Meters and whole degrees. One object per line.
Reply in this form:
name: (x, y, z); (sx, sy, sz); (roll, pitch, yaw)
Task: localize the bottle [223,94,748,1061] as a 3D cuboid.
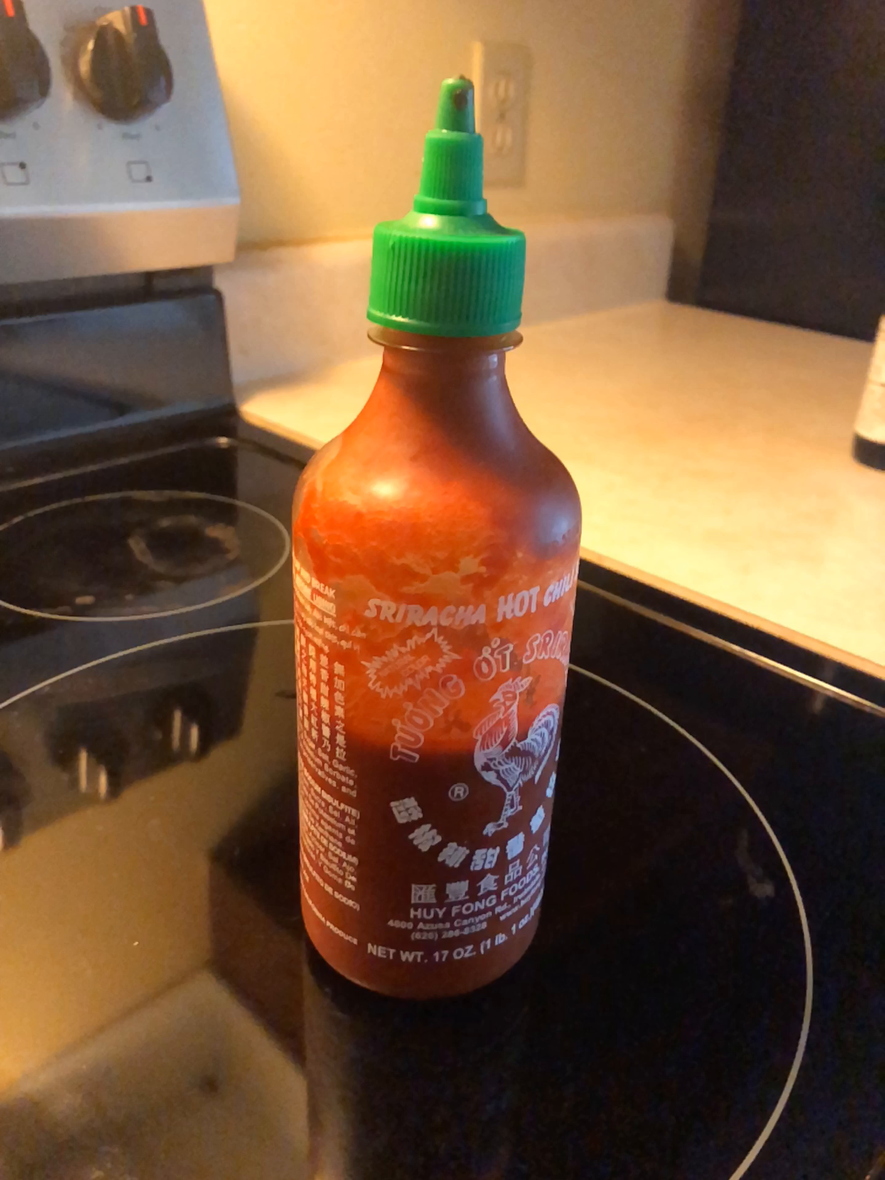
bottle: (0.003, -0.002, 0.230); (0.070, 0.199, 0.070); (2, 26, -1)
